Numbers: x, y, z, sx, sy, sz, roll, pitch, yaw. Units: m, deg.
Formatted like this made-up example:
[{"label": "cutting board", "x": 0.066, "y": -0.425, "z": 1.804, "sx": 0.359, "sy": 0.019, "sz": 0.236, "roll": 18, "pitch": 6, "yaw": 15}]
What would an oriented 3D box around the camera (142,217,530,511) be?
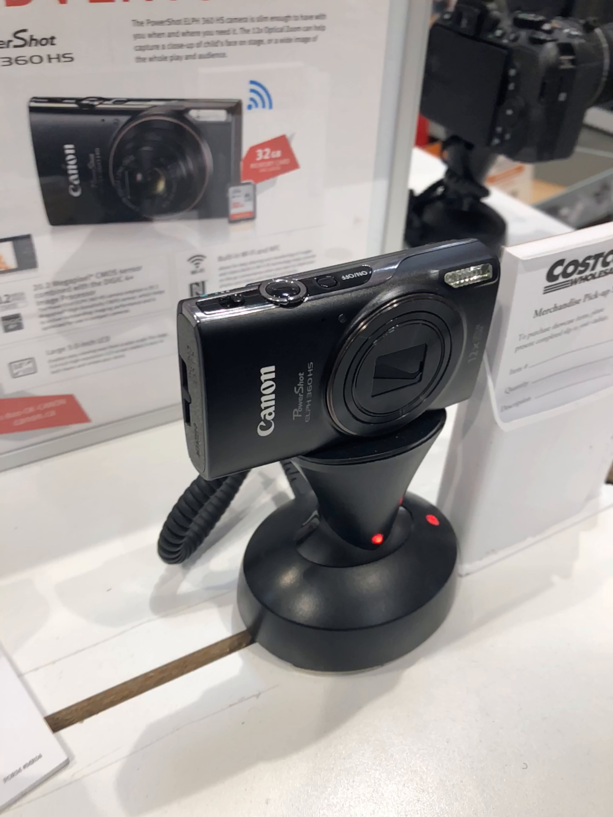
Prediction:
[{"label": "camera", "x": 0.010, "y": -0.017, "z": 0.212, "sx": 0.110, "sy": 0.060, "sz": 0.030, "roll": -17, "pitch": 42, "yaw": -23}]
